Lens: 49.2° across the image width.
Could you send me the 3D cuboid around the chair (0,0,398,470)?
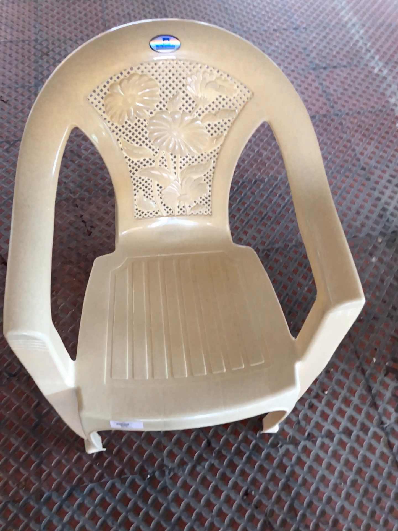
[{"bbox_3d":[-0.055,0.020,0.924,0.530,0.806,0.612,-5,60,-7],"label":"chair"}]
